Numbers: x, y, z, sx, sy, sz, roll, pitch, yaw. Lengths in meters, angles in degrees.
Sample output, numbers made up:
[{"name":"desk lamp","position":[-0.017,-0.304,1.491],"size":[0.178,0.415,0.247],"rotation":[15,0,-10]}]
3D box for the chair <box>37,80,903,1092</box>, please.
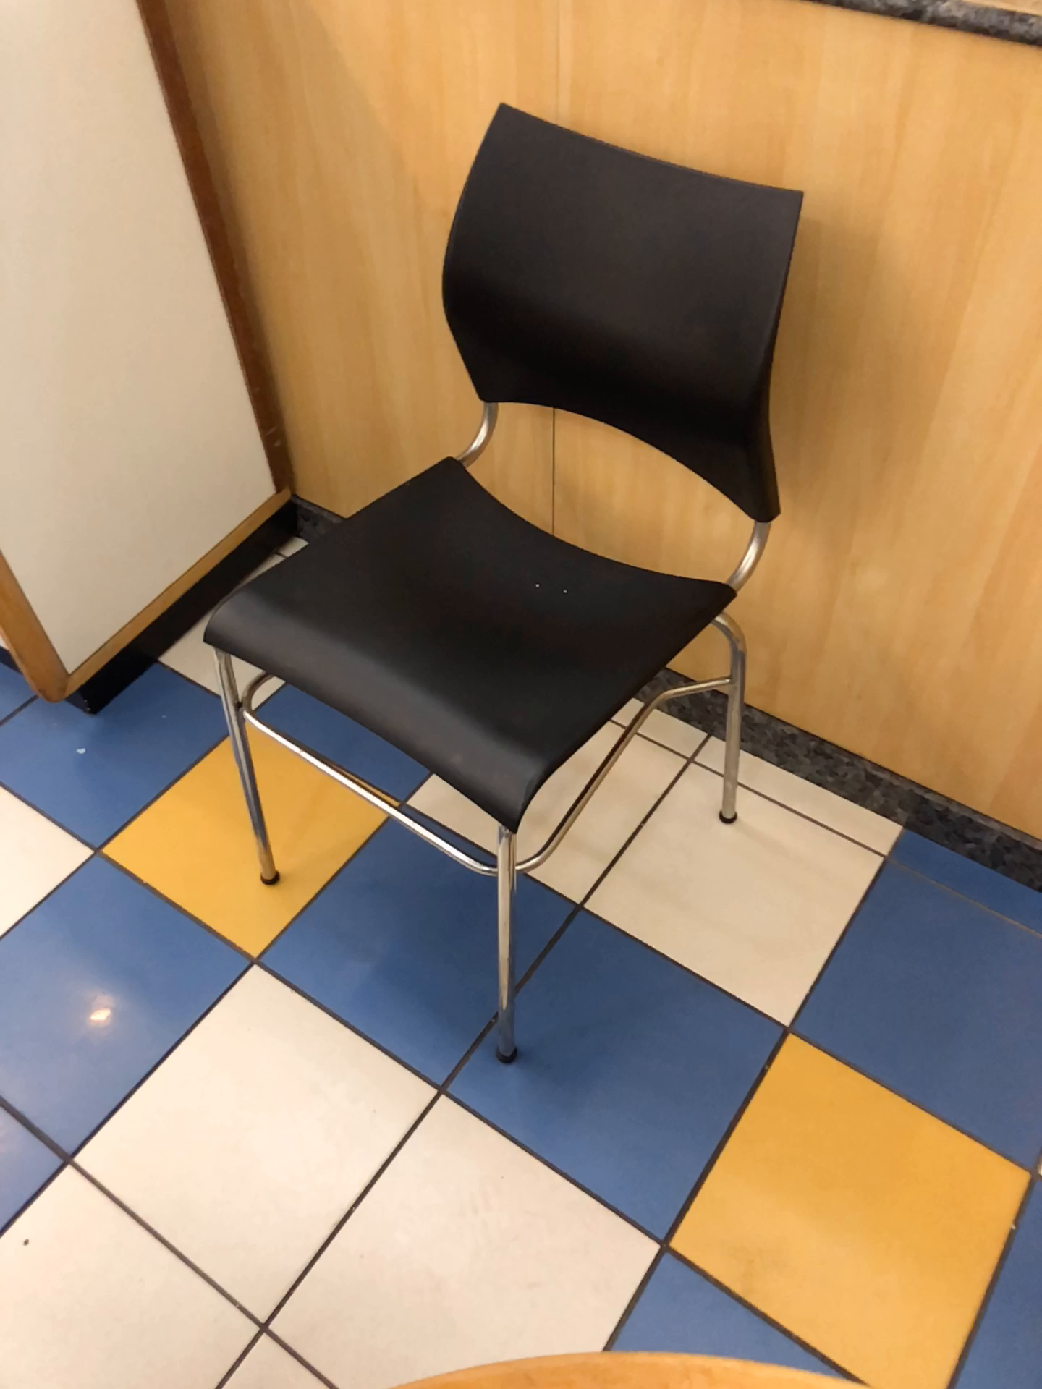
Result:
[{"name":"chair","position":[-0.022,-0.094,1.303],"size":[0.511,0.874,0.553],"rotation":[29,55,25]}]
